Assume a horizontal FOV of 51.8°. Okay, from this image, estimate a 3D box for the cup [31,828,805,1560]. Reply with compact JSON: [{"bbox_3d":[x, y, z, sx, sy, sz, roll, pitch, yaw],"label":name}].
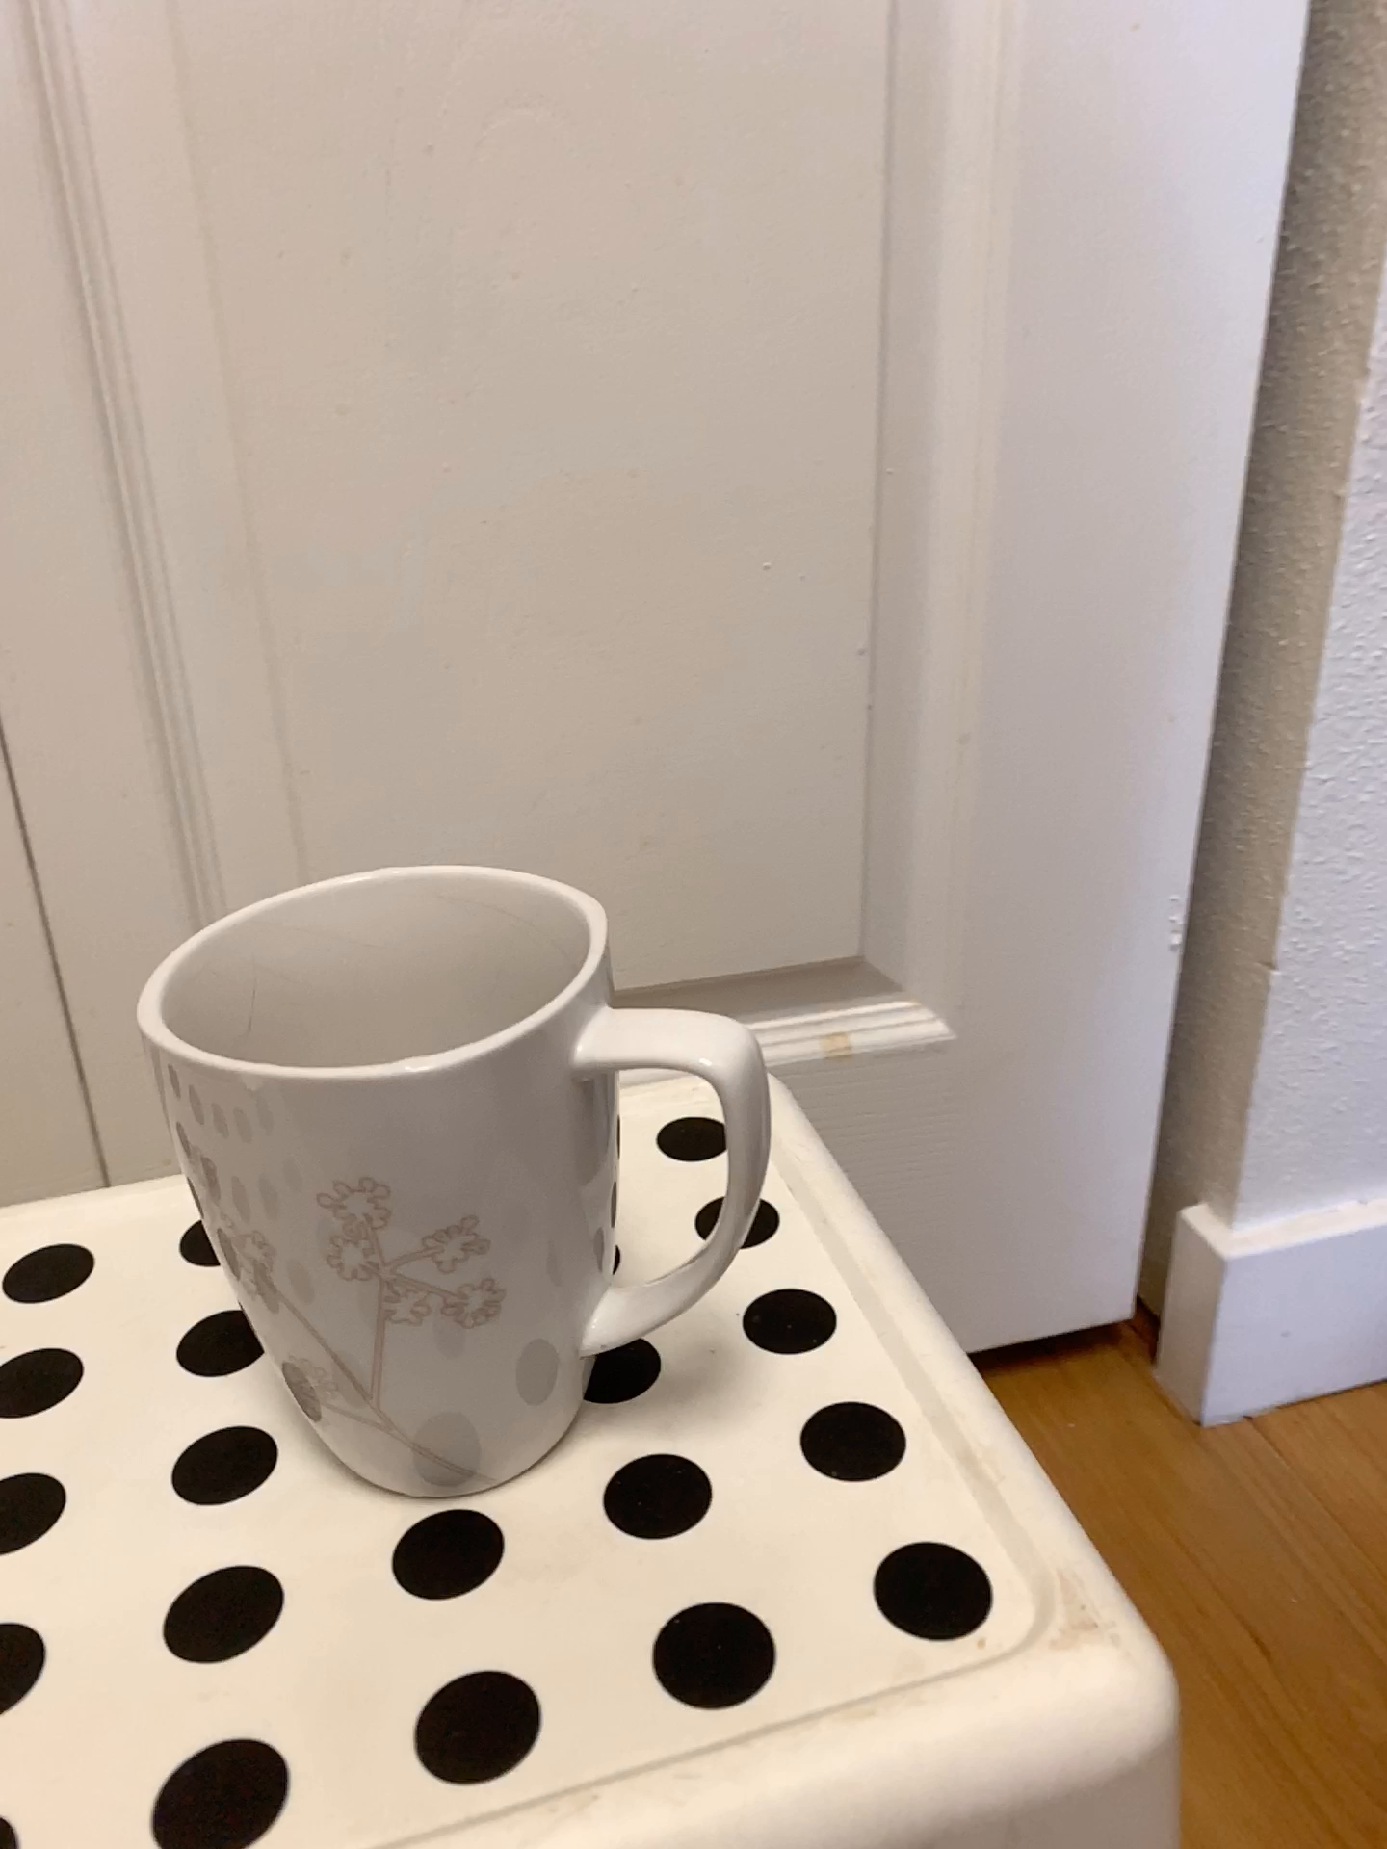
[{"bbox_3d":[-0.042,0.048,0.279,0.120,0.109,0.070,3,26,11],"label":"cup"}]
